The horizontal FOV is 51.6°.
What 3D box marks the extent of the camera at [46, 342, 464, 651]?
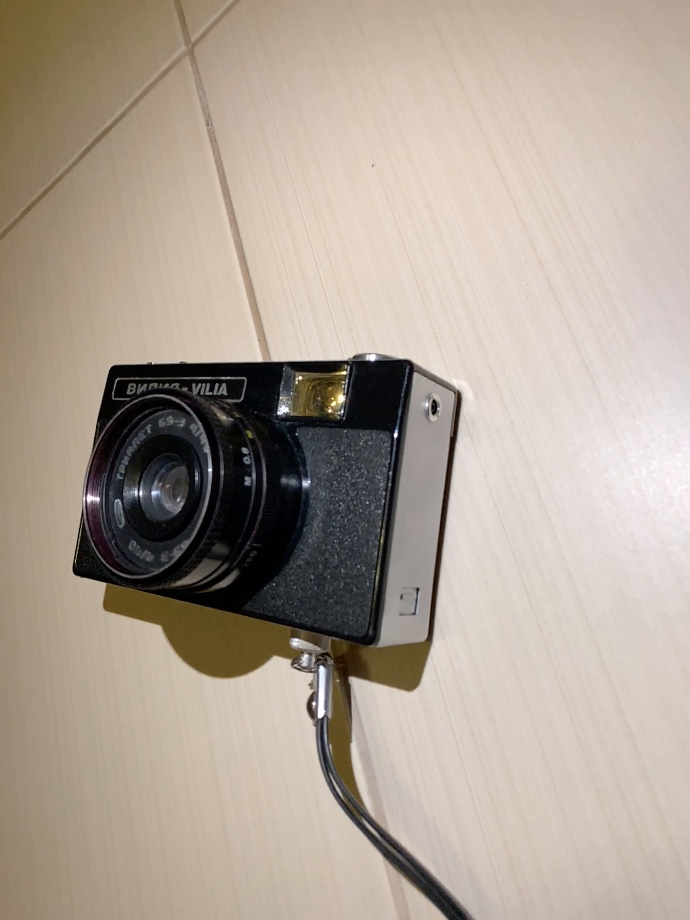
[{"bbox_3d":[-0.033,0.007,0.220,0.125,0.041,0.073,4,84,37],"label":"camera"}]
